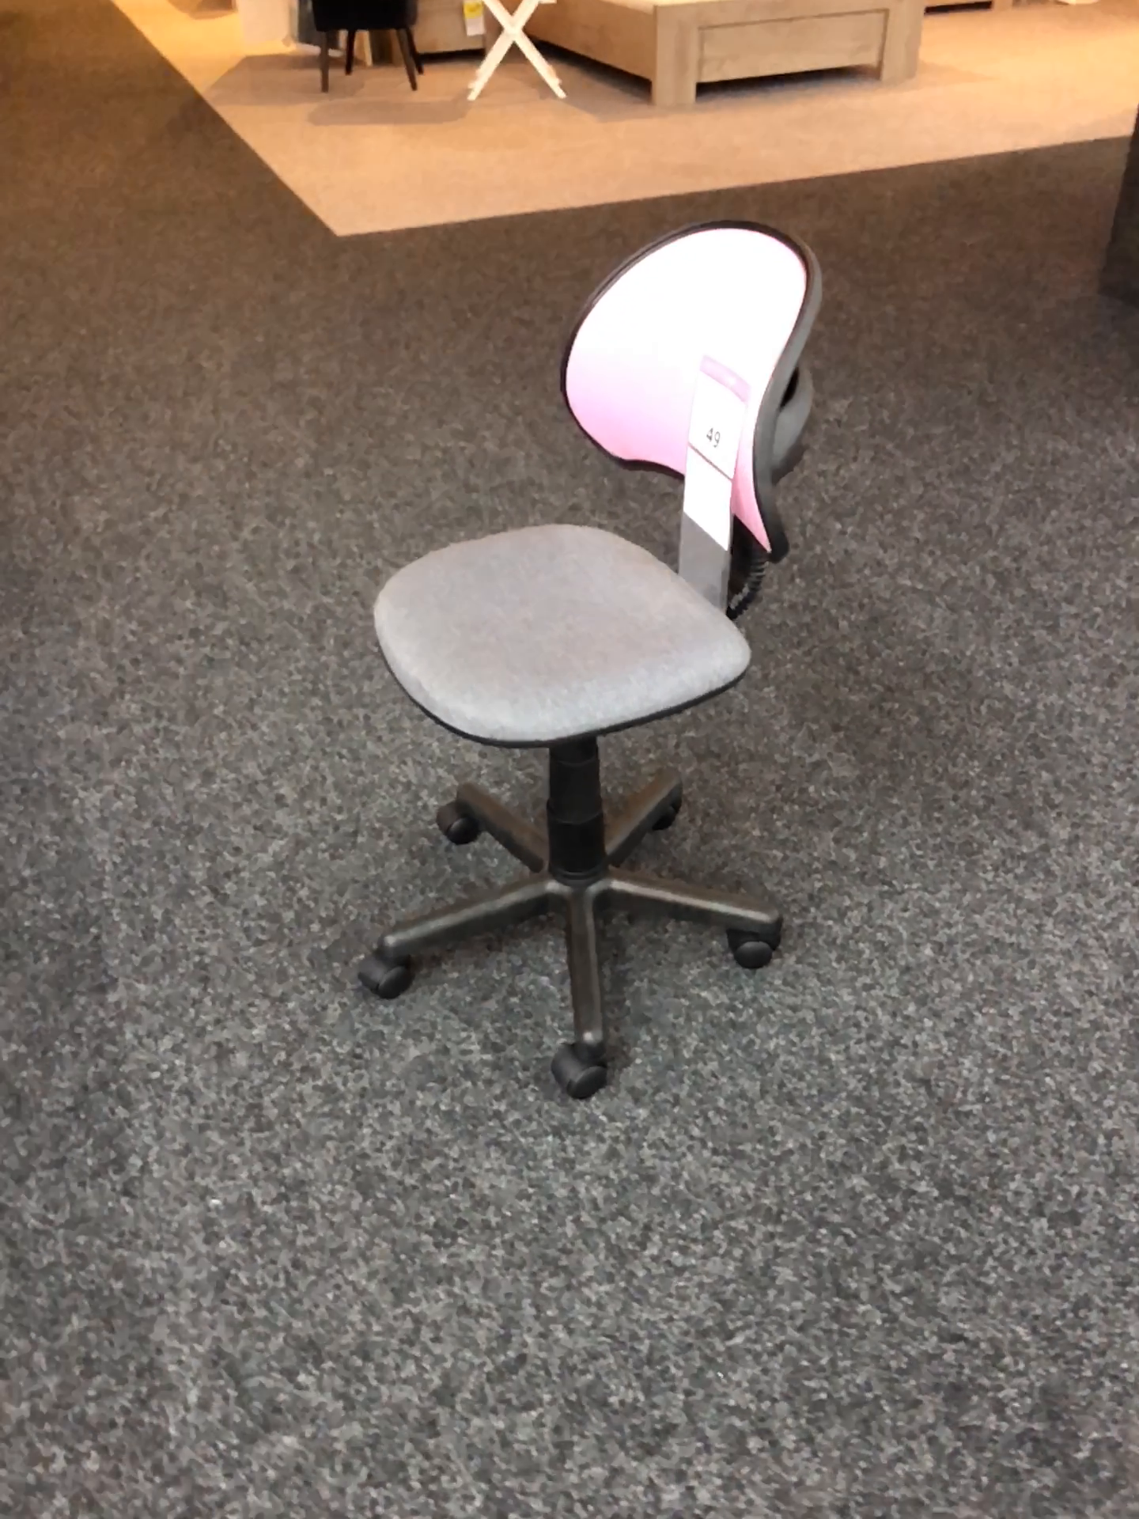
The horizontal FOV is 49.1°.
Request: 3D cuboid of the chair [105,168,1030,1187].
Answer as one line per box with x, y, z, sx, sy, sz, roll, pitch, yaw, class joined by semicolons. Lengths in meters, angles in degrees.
-0.011;-0.136;1.362;0.603;0.775;0.601;-25;42;-29;chair
